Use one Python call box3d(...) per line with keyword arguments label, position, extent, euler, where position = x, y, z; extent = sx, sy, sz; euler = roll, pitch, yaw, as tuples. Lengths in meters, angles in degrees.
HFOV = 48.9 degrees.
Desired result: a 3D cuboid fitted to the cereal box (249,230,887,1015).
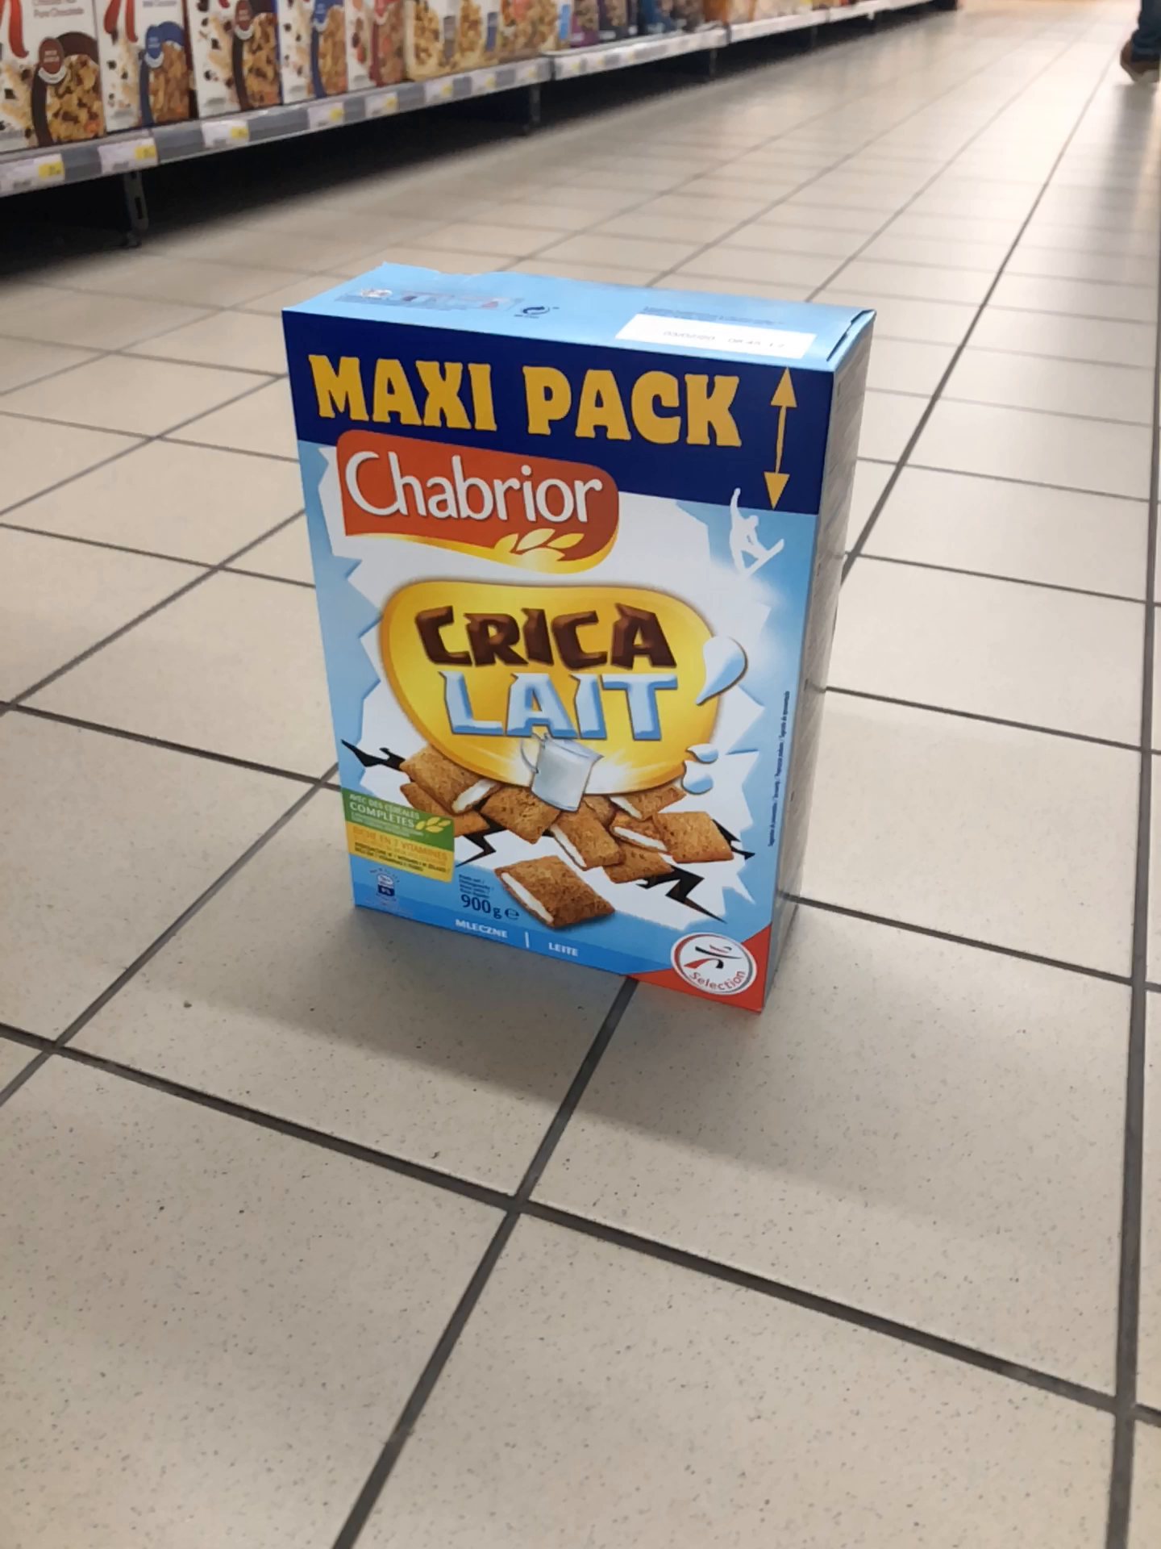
box3d(label="cereal box", position=(-0.003, -0.059, 0.510), extent=(0.200, 0.268, 0.091), euler=(12, 35, 19))
